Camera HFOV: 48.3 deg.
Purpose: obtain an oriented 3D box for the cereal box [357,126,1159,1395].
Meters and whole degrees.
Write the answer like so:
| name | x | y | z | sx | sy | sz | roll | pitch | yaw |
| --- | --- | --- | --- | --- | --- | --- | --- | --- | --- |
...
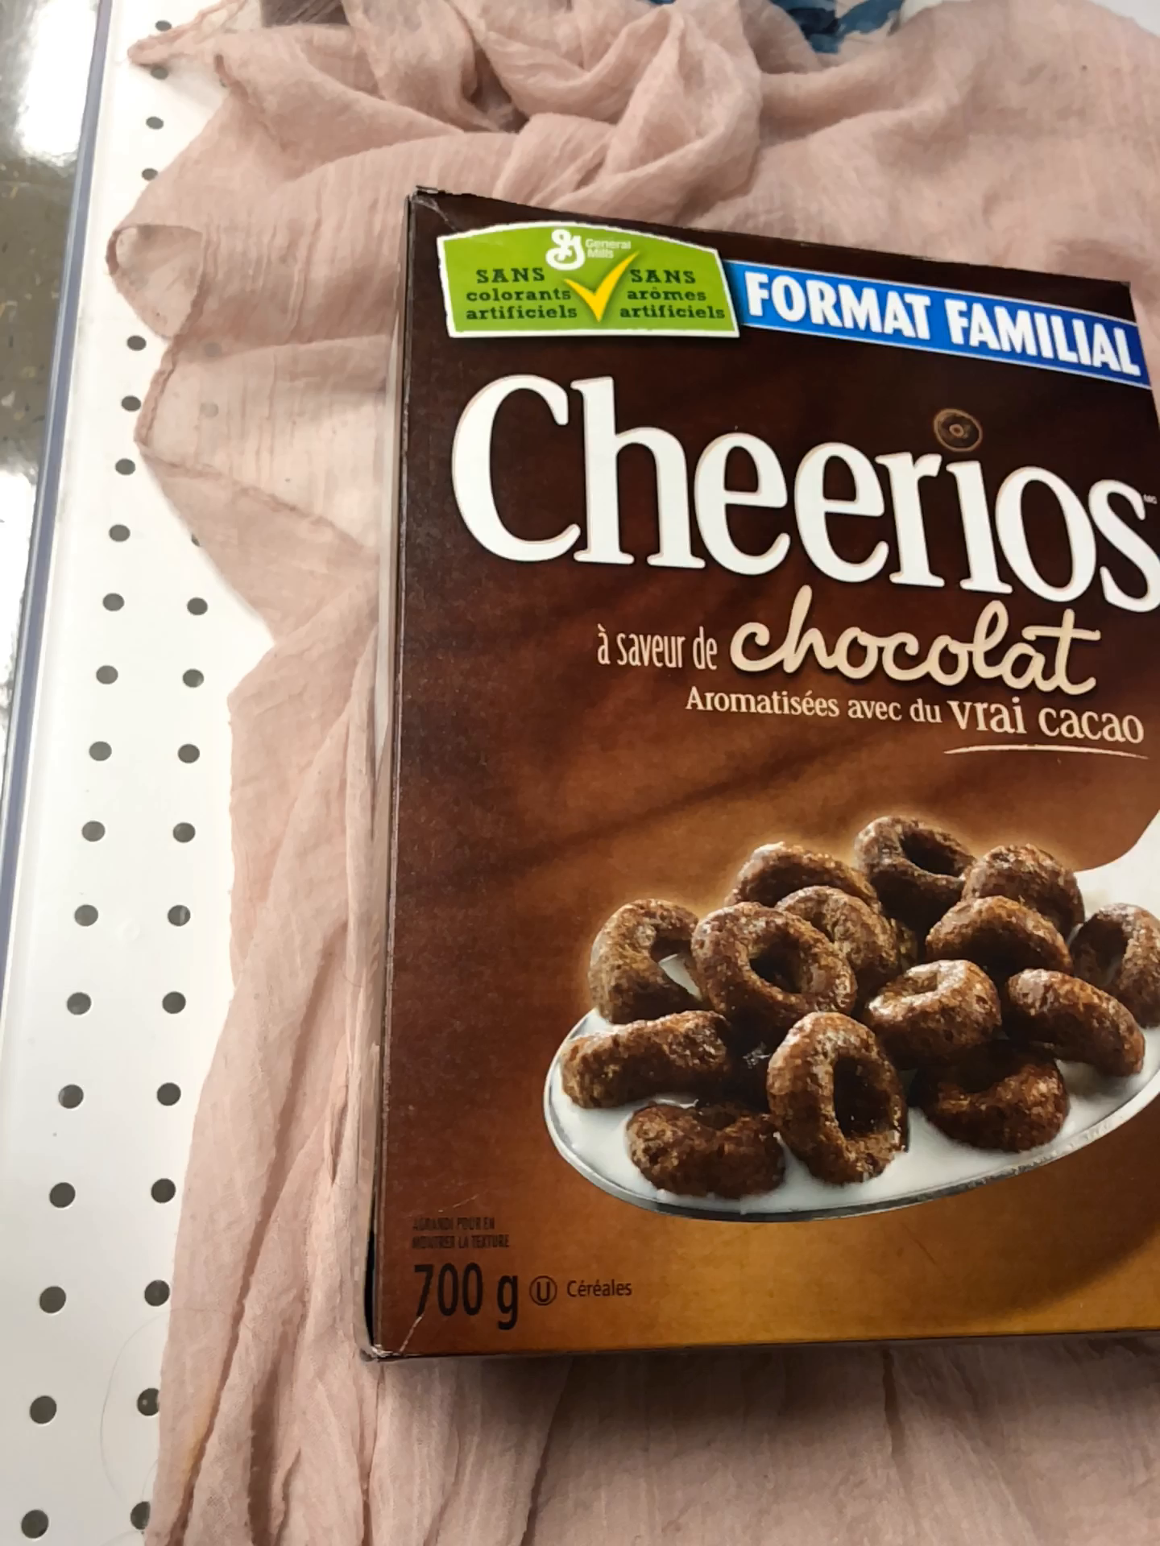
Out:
| name | x | y | z | sx | sy | sz | roll | pitch | yaw |
| --- | --- | --- | --- | --- | --- | --- | --- | --- | --- |
| cereal box | 0.061 | -0.012 | 0.370 | 0.230 | 0.090 | 0.330 | 3 | 67 | -10 |
